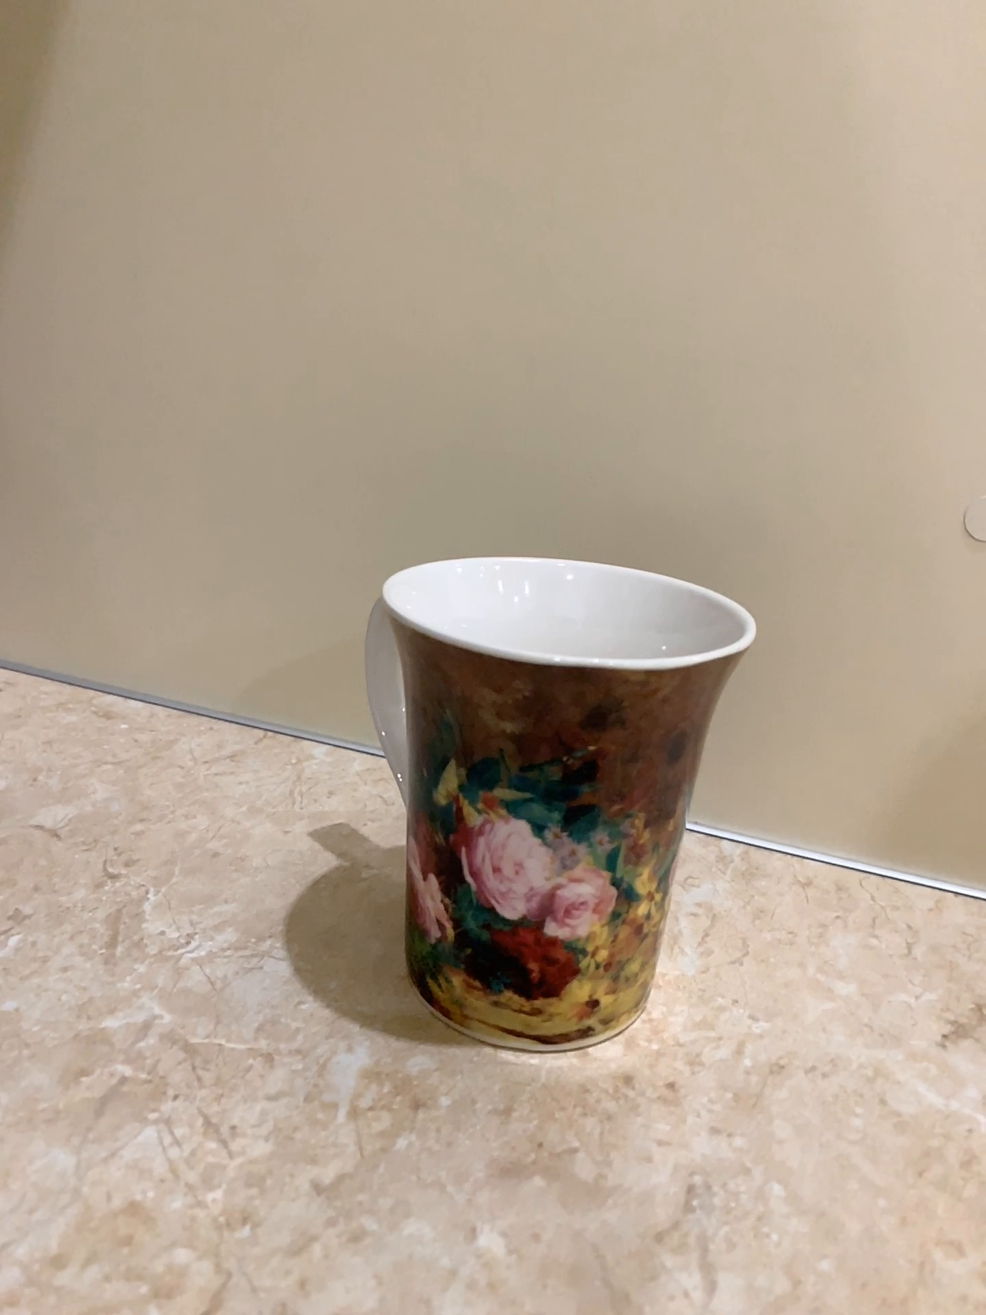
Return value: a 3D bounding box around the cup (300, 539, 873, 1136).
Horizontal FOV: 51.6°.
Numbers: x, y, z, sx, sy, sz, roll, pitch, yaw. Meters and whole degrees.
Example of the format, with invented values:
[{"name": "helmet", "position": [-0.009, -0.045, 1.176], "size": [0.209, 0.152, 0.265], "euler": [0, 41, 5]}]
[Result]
[{"name": "cup", "position": [0.014, 0.031, 0.258], "size": [0.094, 0.096, 0.102], "euler": [4, 19, -1]}]
